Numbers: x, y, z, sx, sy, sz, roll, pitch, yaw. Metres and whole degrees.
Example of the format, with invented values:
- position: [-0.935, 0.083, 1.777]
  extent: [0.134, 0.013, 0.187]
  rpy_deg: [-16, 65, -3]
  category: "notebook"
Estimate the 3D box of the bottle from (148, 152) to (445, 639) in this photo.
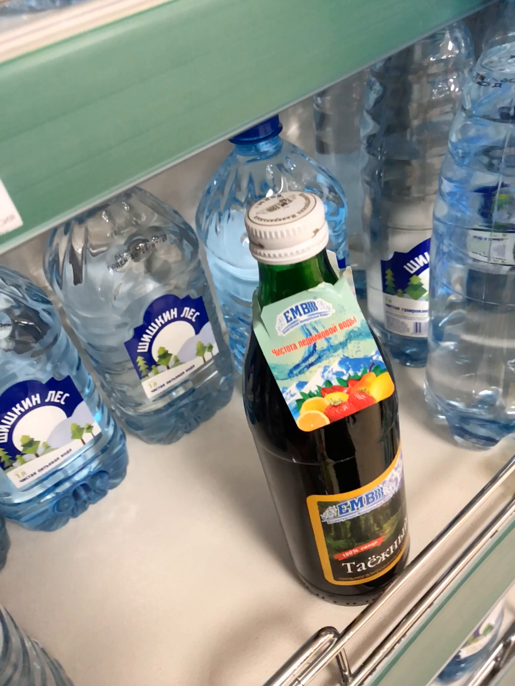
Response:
- position: [0.034, 0.038, 0.262]
  extent: [0.075, 0.219, 0.068]
  rpy_deg: [-35, 43, -21]
  category: "bottle"
